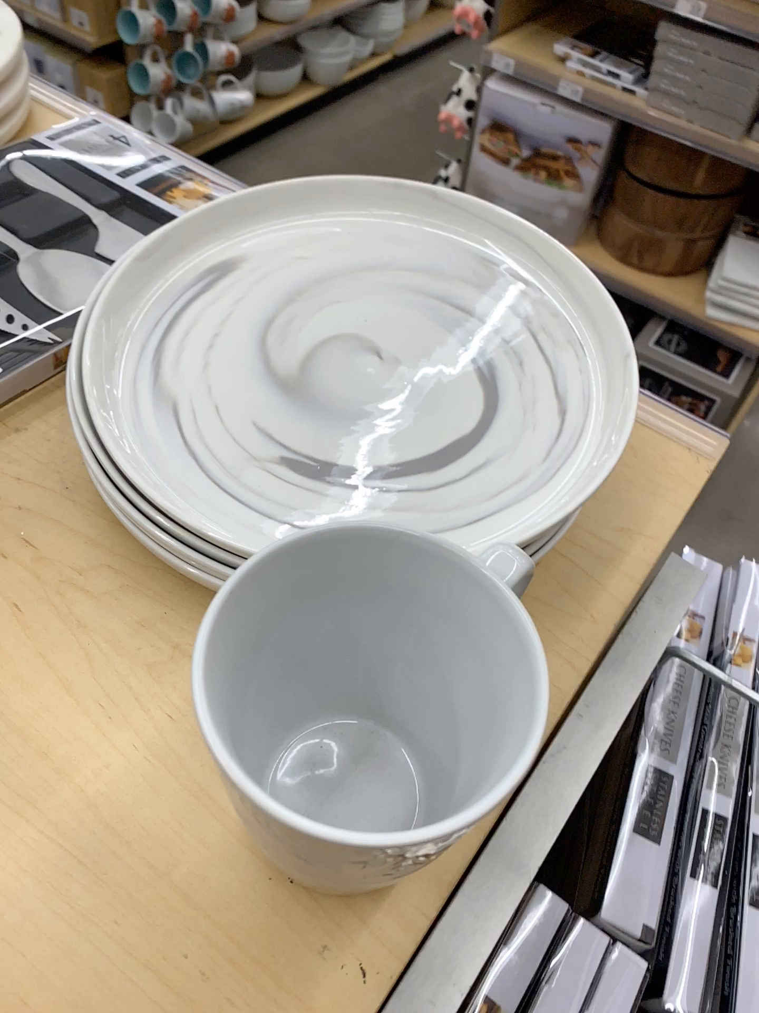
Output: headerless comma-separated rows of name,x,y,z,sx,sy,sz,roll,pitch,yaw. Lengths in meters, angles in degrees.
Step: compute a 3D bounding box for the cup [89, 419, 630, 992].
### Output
cup,-0.006,0.065,0.266,0.099,0.107,0.125,36,56,18
